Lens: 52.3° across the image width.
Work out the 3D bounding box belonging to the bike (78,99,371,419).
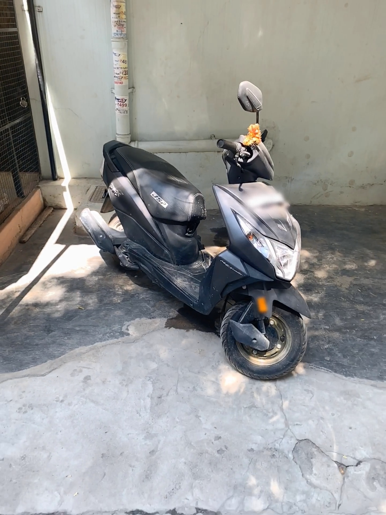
[{"bbox_3d":[0.042,-0.095,2.334,1.512,1.278,0.503,29,39,35],"label":"bike"}]
